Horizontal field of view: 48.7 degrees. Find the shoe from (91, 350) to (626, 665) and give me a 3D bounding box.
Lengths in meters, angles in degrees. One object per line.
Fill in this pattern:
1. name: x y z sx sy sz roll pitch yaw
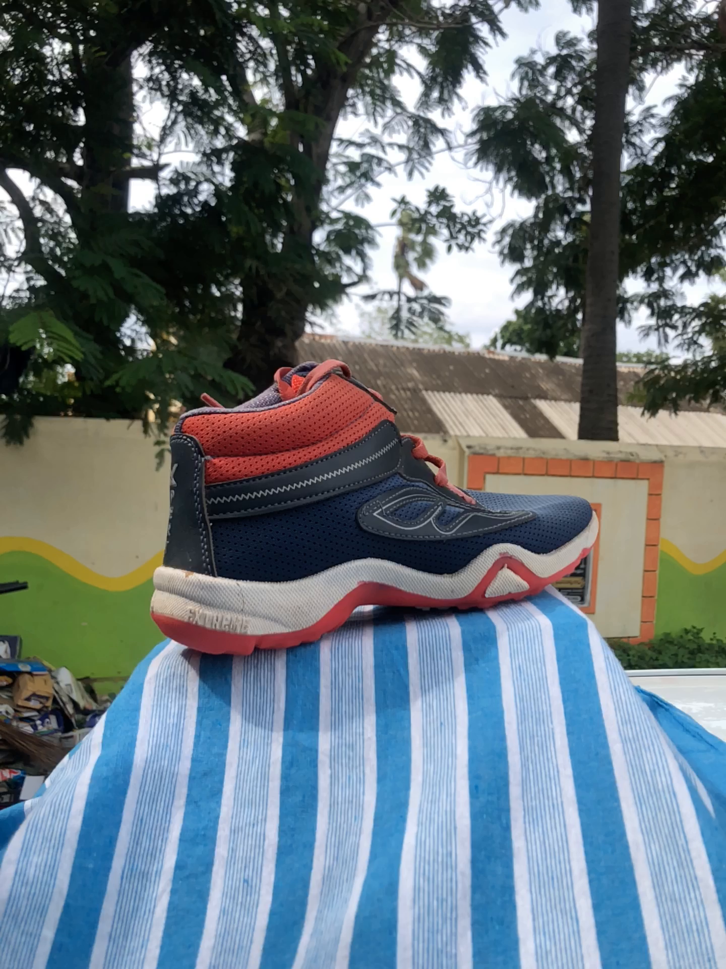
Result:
1. shoe: 0.010 0.006 0.424 0.271 0.120 0.100 0 3 -36
